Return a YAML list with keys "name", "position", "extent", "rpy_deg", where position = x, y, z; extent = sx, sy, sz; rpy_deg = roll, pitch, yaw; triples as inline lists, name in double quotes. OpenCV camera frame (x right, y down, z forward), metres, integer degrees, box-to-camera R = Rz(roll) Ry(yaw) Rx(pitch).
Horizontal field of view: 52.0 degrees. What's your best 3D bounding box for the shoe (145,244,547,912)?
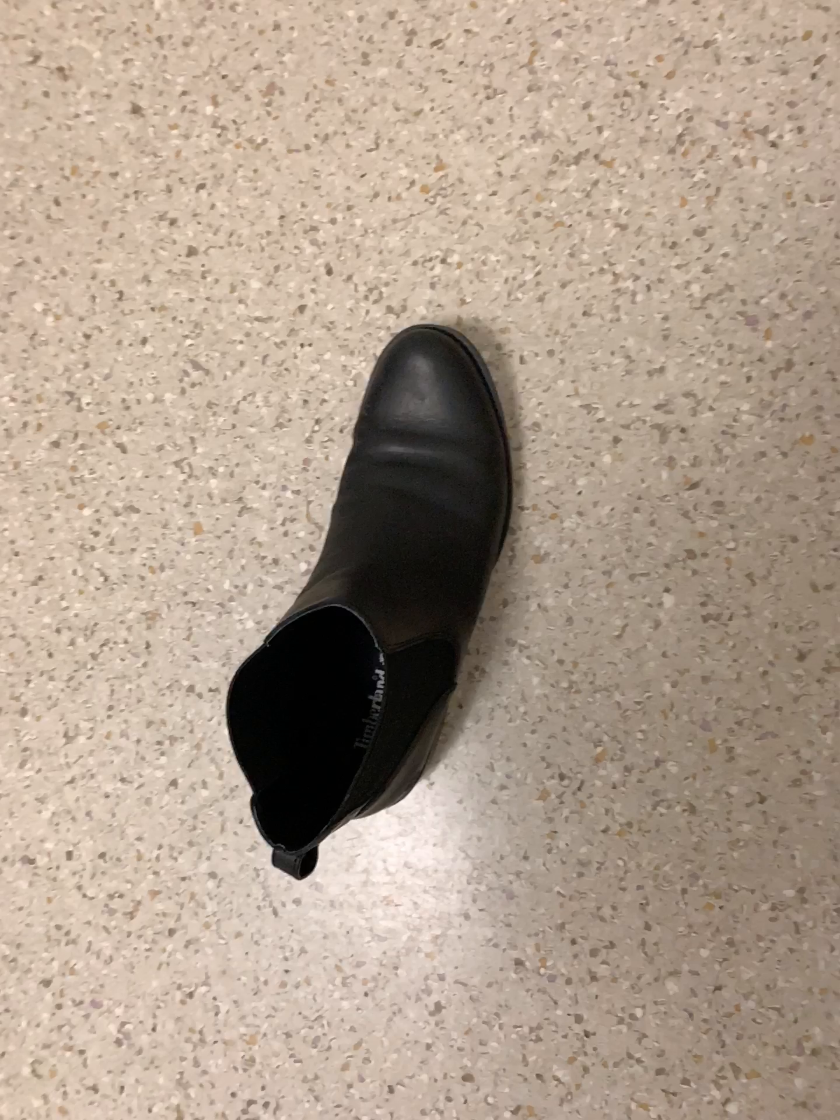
- name: "shoe"
  position: [-0.021, 0.007, 0.440]
  extent: [0.107, 0.164, 0.262]
  rpy_deg: [12, 89, 13]
